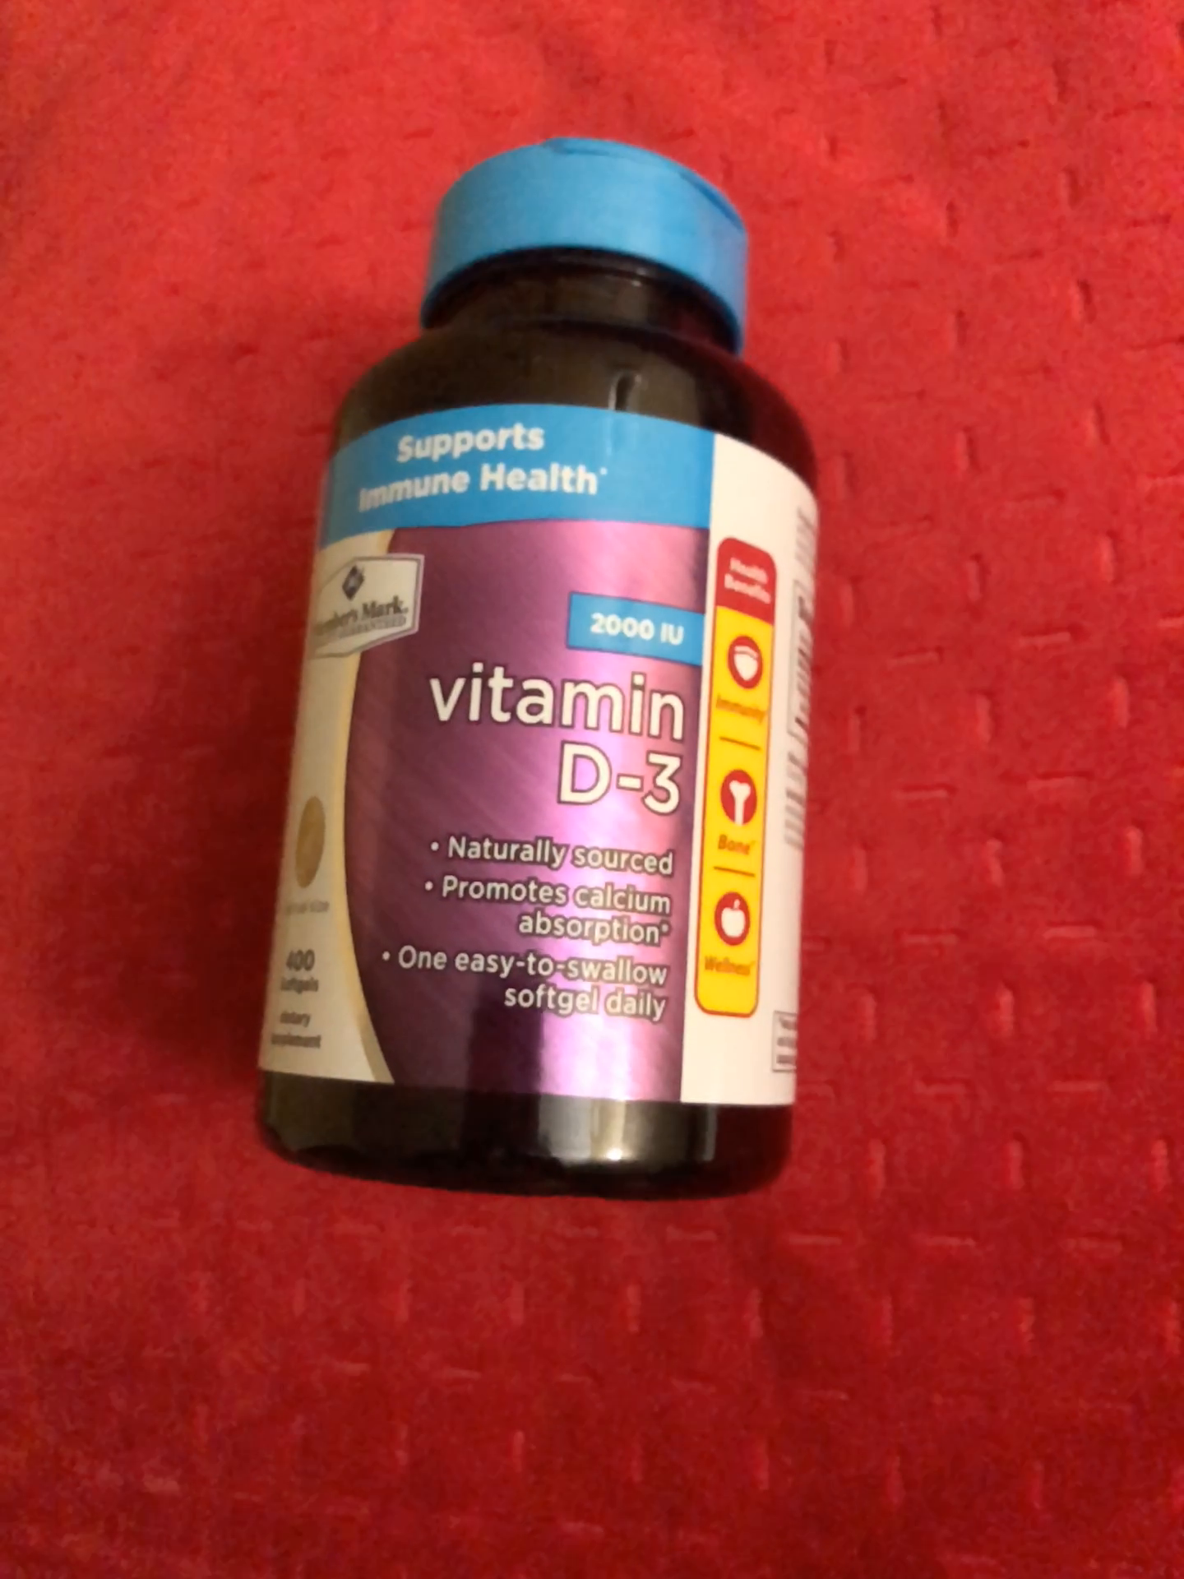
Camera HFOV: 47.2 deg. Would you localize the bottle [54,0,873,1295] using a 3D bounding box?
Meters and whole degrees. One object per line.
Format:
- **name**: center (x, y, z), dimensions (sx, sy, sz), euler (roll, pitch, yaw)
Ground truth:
- **bottle**: center (-0.009, -0.022, 0.164), dimensions (0.070, 0.060, 0.140), euler (-2, 80, 25)
